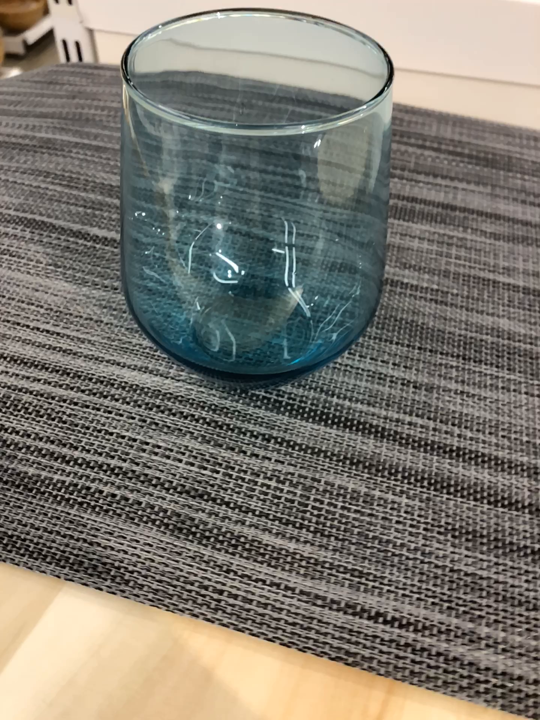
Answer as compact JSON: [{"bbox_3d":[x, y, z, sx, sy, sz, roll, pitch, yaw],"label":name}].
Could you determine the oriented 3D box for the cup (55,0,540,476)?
[{"bbox_3d":[0.001,-0.054,0.217,0.120,0.120,0.120,2,48,-2],"label":"cup"}]
